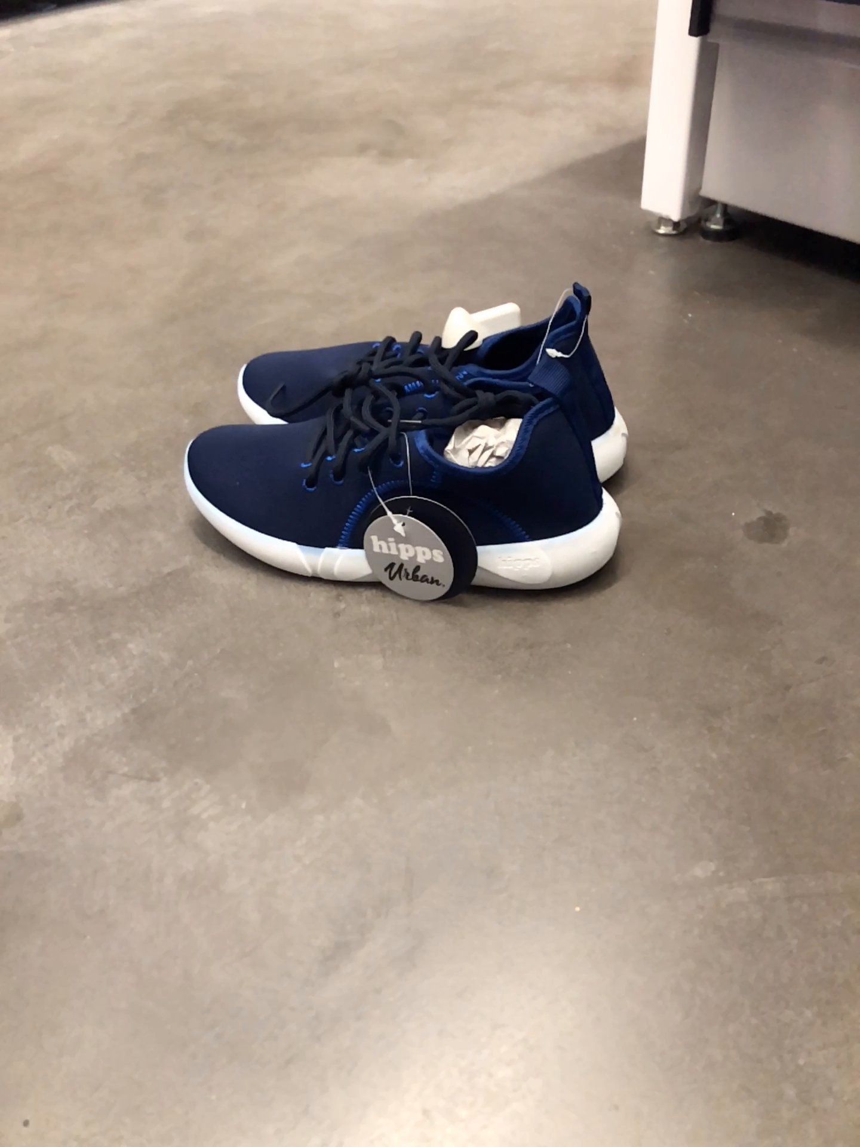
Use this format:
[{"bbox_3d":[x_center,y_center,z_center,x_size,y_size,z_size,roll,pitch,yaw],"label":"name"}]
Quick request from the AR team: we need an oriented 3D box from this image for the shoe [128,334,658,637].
[{"bbox_3d":[-0.015,-0.051,0.485,0.240,0.090,0.091,9,42,15],"label":"shoe"}]

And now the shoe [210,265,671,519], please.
[{"bbox_3d":[0.009,-0.111,0.553,0.240,0.090,0.091,9,42,15],"label":"shoe"}]
